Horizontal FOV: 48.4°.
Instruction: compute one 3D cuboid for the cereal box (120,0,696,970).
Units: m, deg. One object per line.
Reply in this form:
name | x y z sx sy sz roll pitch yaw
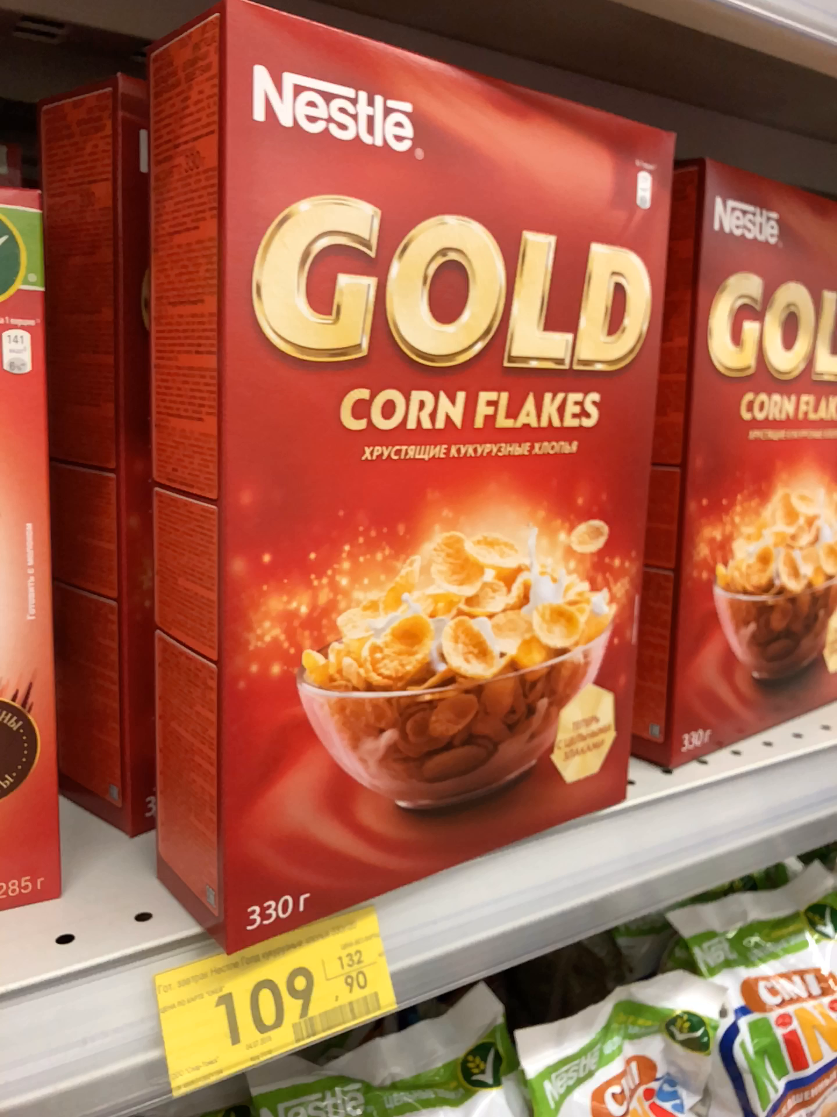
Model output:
cereal box | 0.002 -0.027 0.341 0.200 0.279 0.060 -6 14 -38
